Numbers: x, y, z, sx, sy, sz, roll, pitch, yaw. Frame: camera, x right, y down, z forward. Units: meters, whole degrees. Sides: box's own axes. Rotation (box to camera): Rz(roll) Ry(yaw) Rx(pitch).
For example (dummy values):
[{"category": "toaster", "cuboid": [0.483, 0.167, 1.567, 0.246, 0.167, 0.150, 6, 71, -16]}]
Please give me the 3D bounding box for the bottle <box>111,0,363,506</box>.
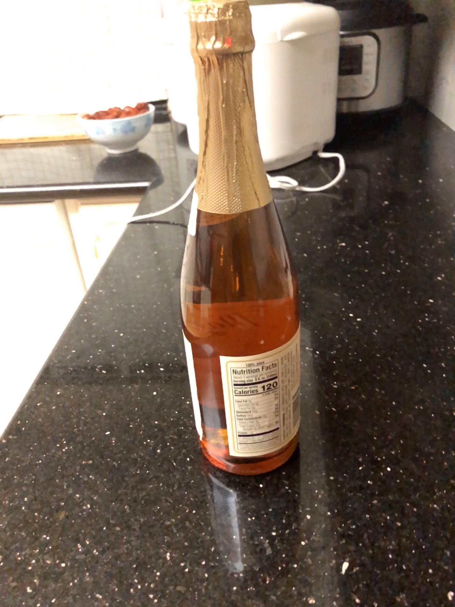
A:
[{"category": "bottle", "cuboid": [0.011, -0.020, 0.320, 0.090, 0.298, 0.090, -4, 32, 2]}]
